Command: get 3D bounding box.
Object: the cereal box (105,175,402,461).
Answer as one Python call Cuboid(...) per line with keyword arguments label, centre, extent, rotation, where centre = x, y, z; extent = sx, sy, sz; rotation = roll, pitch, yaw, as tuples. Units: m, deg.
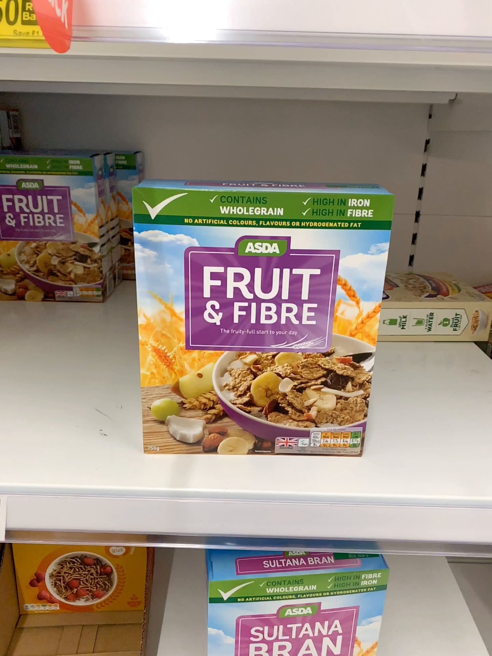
Cuboid(label="cereal box", centre=(0.004, -0.008, 0.486), extent=(0.240, 0.258, 0.081), rotation=(1, 19, -1))
